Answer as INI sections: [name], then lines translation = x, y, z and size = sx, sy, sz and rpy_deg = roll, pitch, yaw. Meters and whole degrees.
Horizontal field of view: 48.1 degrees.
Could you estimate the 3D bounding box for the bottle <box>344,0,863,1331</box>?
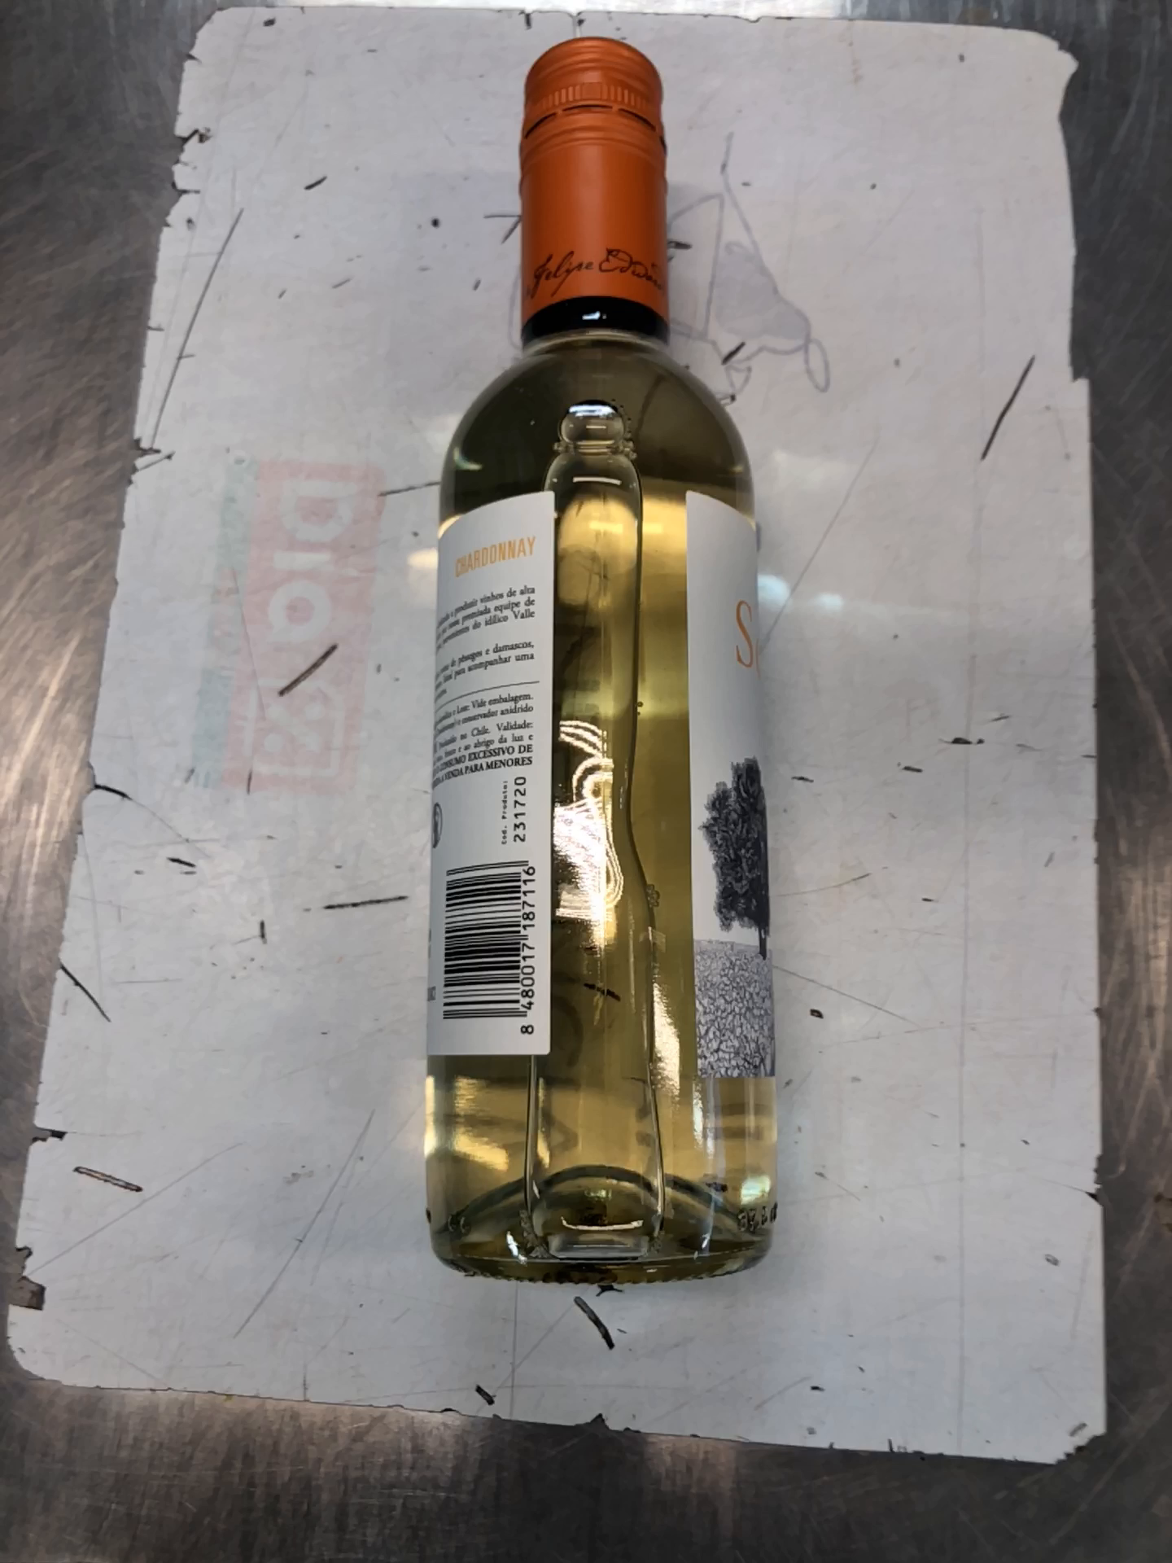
[bottle]
translation = -0.002, -0.047, 0.253
size = 0.070, 0.070, 0.270
rpy_deg = 4, 78, -18
